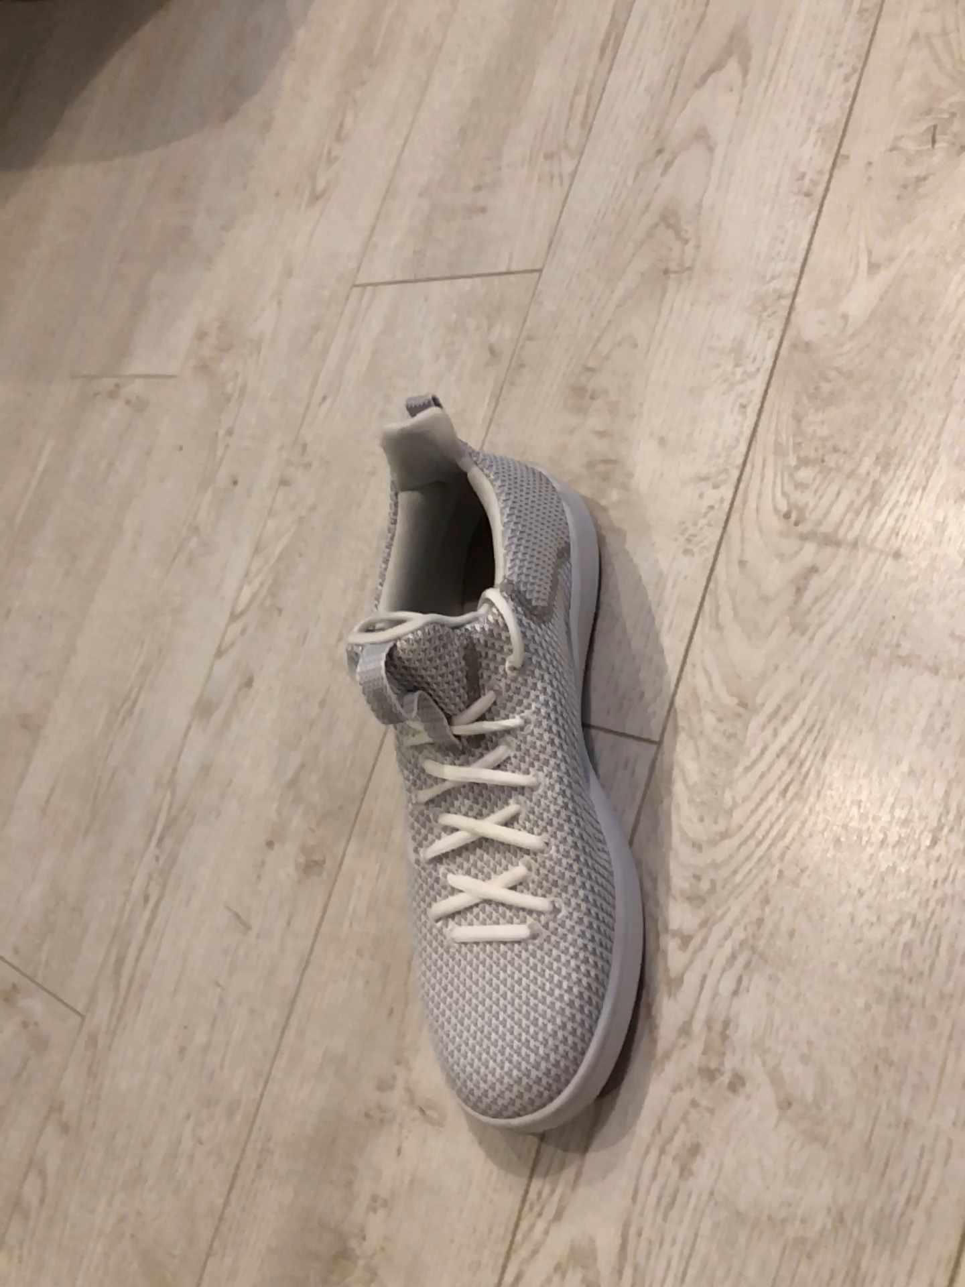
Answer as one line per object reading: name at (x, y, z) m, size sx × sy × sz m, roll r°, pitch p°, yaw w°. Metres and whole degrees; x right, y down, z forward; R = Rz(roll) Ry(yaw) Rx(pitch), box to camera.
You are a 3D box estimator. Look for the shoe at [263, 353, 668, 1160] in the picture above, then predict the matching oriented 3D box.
shoe at (-0.004, 0.046, 0.438) m, size 0.100 × 0.110 × 0.291 m, roll -15°, pitch 63°, yaw 32°
